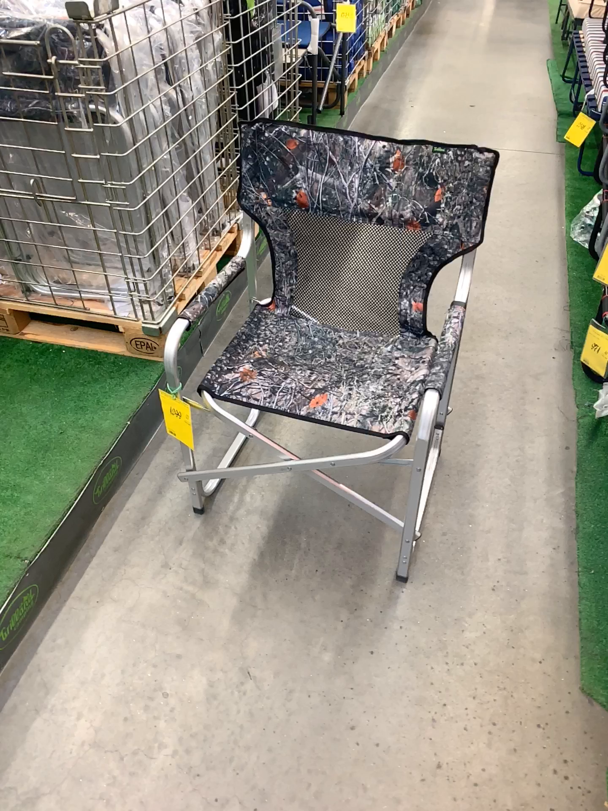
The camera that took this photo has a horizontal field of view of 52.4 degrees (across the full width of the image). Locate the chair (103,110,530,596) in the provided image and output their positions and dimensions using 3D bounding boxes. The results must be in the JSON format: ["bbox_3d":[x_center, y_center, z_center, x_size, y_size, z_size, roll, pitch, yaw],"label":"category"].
[{"bbox_3d":[0.069,-0.136,1.472,0.651,0.836,0.612,15,44,16],"label":"chair"}]
